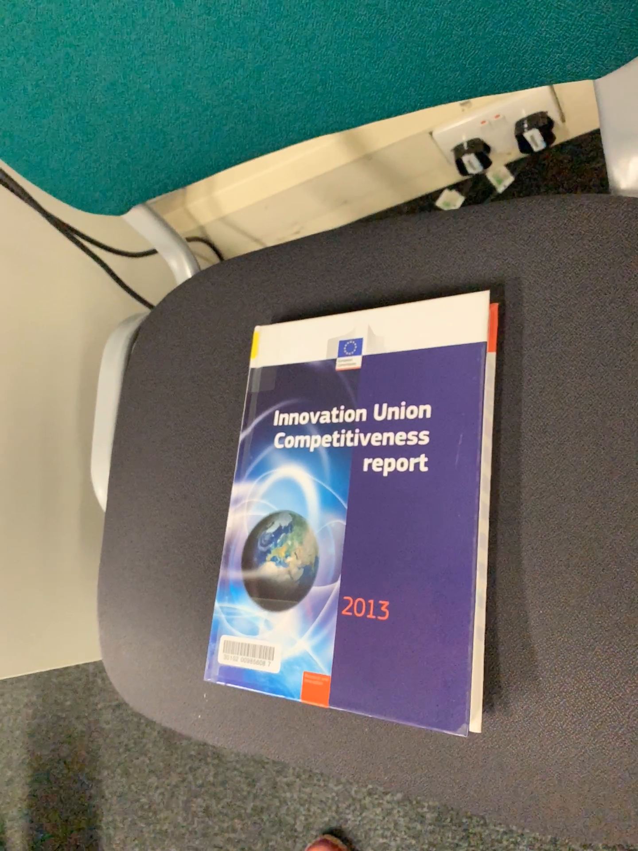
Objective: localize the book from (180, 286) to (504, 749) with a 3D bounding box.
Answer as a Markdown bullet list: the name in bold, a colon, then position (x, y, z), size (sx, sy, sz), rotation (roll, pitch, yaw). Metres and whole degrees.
- **book**: position (0.011, 0.045, 0.419), size (0.194, 0.026, 0.250), rotation (-3, 73, 34)
